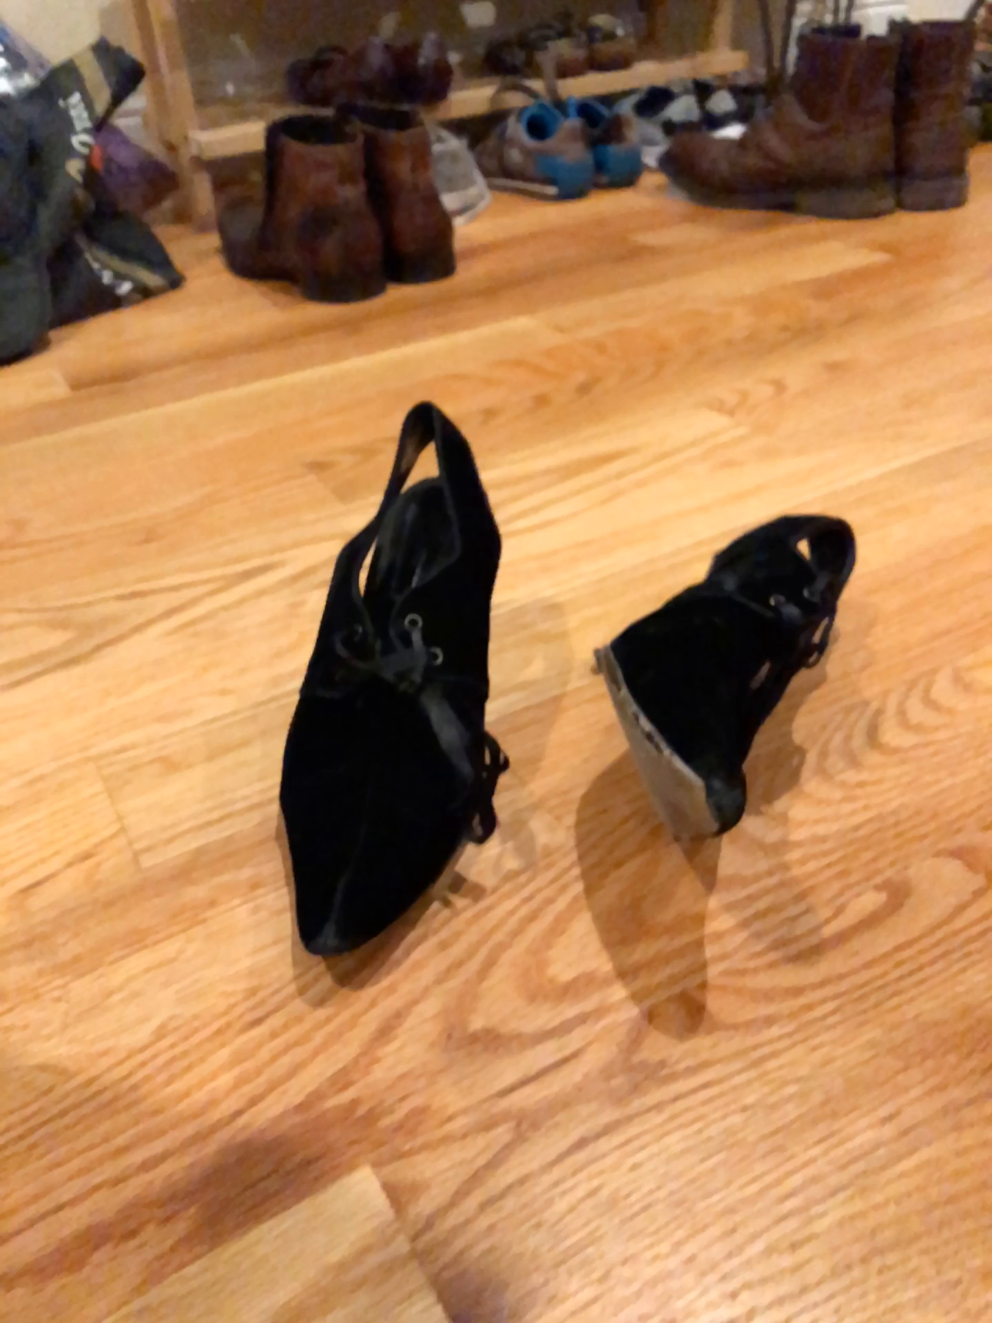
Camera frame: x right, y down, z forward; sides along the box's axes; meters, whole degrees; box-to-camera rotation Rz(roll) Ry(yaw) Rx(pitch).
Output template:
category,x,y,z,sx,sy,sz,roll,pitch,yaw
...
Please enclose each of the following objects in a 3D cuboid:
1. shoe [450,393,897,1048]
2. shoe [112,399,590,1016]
category,x,y,z,sx,sy,sz,roll,pitch,yaw
shoe,0.084,-0.003,0.419,0.118,0.107,0.253,6,35,17
shoe,-0.033,-0.004,0.451,0.107,0.117,0.253,4,35,12
